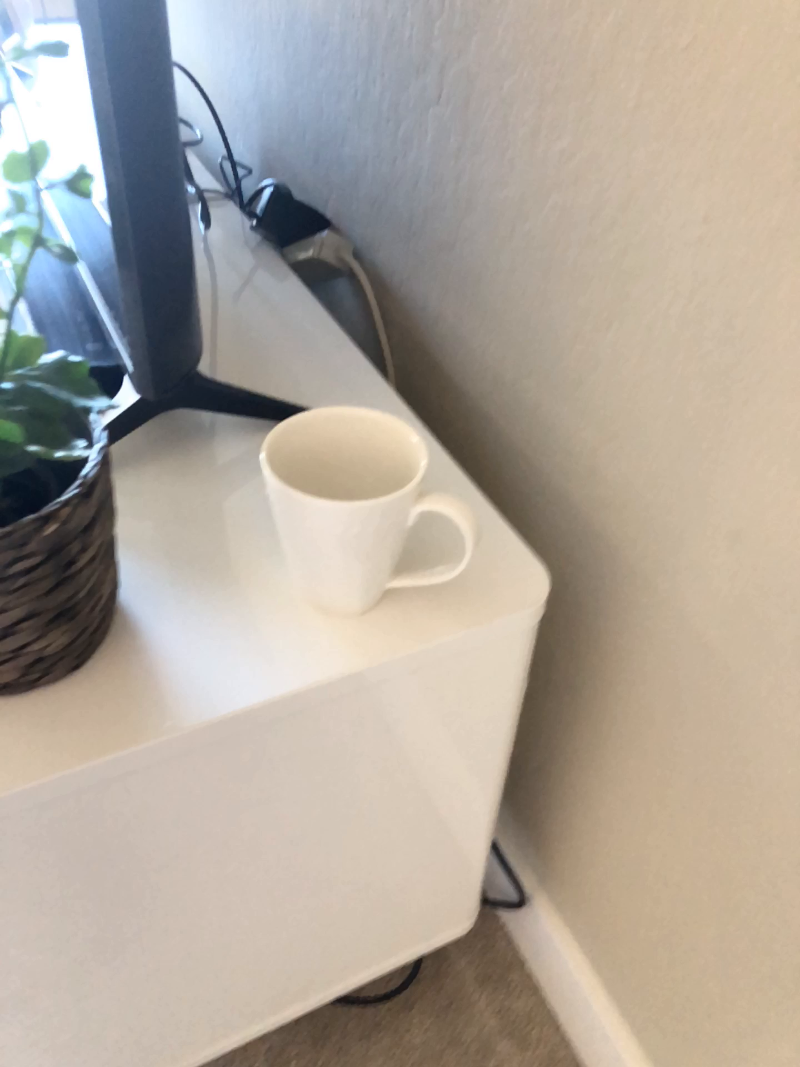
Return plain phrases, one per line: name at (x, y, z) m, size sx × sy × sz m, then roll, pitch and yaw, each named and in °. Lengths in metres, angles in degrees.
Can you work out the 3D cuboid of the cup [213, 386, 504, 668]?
cup at (-0.023, -0.007, 0.507) m, size 0.130 × 0.090 × 0.090 m, roll 21°, pitch 44°, yaw 19°
